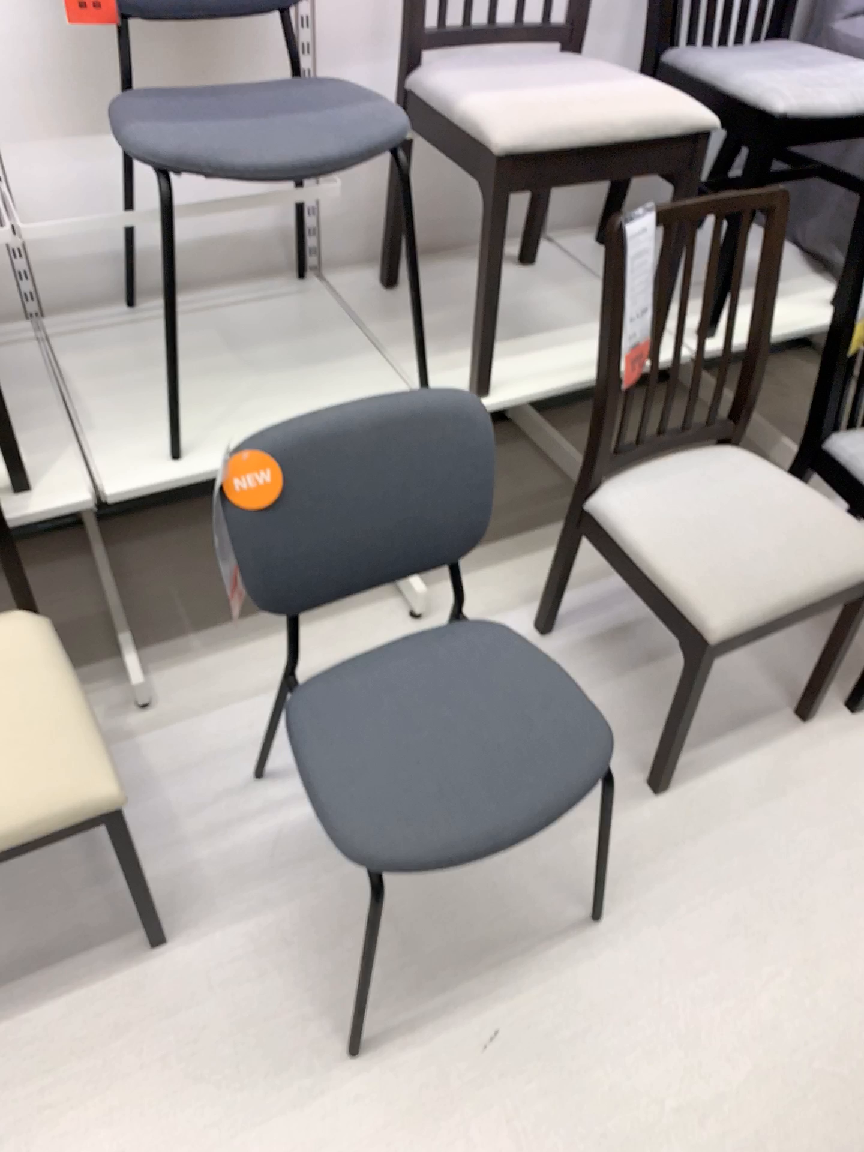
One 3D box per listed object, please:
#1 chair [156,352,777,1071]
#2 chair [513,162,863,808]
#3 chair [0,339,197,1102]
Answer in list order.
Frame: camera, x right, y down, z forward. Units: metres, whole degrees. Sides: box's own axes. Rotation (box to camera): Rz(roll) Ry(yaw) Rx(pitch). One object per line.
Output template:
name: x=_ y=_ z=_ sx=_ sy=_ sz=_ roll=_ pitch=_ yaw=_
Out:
chair: x=-0.009 y=0.197 z=1.327 sx=0.520 sy=0.757 sz=0.592 roll=-19 pitch=49 yaw=-22
chair: x=0.546 y=-0.137 z=1.589 sx=0.480 sy=0.926 sz=0.532 roll=-19 pitch=49 yaw=-22
chair: x=-0.688 y=0.211 z=1.215 sx=0.480 sy=0.807 sz=0.532 roll=-18 pitch=49 yaw=-21
